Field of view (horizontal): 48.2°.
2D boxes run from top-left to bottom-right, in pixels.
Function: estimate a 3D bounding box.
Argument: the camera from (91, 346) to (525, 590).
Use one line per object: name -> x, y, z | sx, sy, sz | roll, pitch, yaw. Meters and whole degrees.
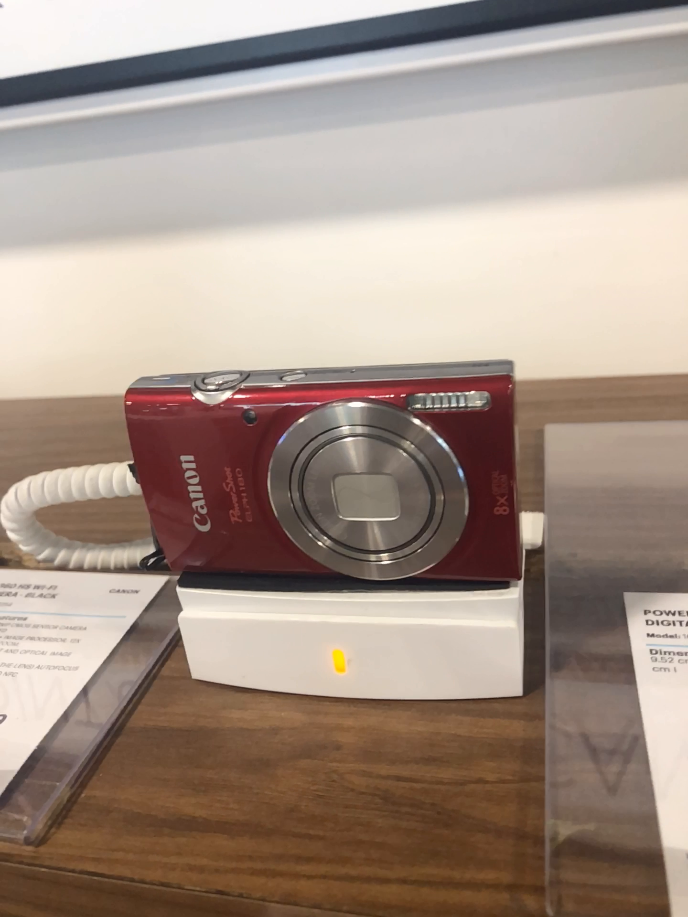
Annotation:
camera -> -0.006, 0.003, 0.189 | 0.097, 0.051, 0.023 | -1, 30, 16
